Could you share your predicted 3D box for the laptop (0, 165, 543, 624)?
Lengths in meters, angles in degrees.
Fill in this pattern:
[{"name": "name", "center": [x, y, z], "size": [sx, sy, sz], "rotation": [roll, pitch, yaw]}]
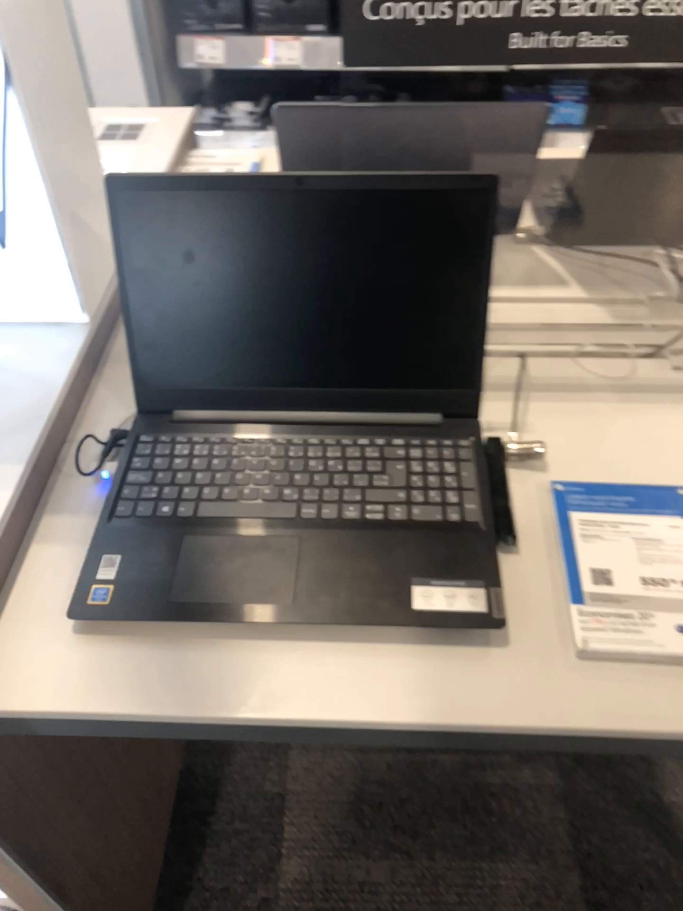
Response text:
[{"name": "laptop", "center": [-0.042, -0.064, 0.646], "size": [0.345, 0.213, 0.324], "rotation": [1, 47, 3]}]
